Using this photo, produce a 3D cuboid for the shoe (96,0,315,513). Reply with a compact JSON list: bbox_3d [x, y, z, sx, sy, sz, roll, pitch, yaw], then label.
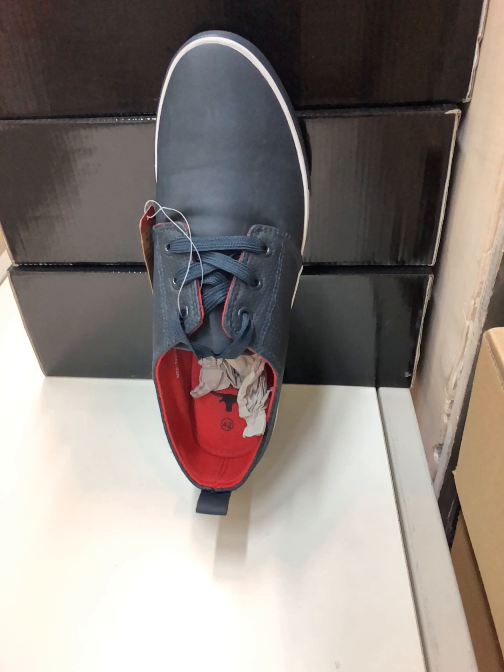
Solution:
[{"bbox_3d":[-0.017,-0.042,0.352,0.103,0.269,0.101,2,12,12],"label":"shoe"}]
